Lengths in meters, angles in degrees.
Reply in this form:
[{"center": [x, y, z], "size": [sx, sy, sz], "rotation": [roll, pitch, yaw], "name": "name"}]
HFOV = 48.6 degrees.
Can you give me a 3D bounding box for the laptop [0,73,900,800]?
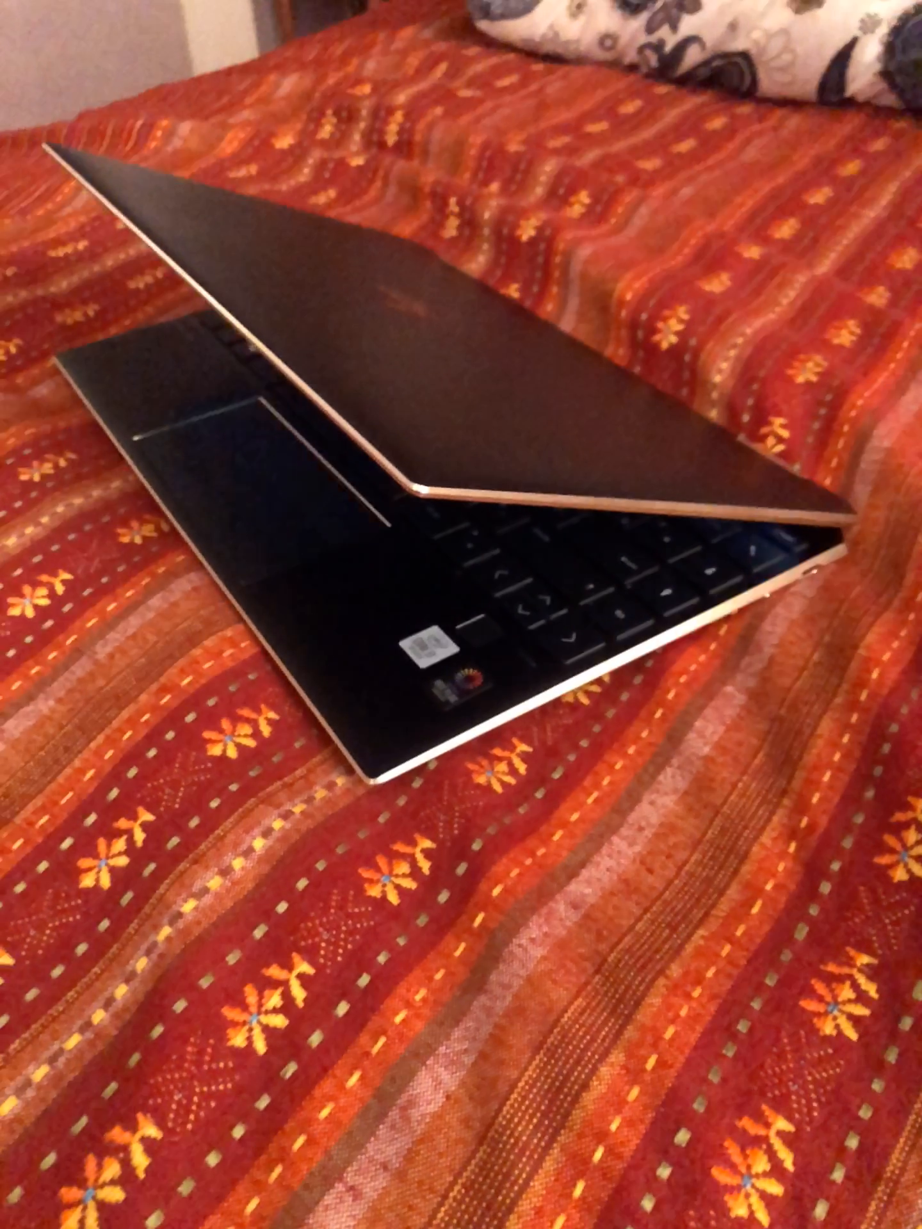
[{"center": [-0.030, -0.115, 0.393], "size": [0.203, 0.101, 0.327], "rotation": [-22, 43, -25], "name": "laptop"}]
